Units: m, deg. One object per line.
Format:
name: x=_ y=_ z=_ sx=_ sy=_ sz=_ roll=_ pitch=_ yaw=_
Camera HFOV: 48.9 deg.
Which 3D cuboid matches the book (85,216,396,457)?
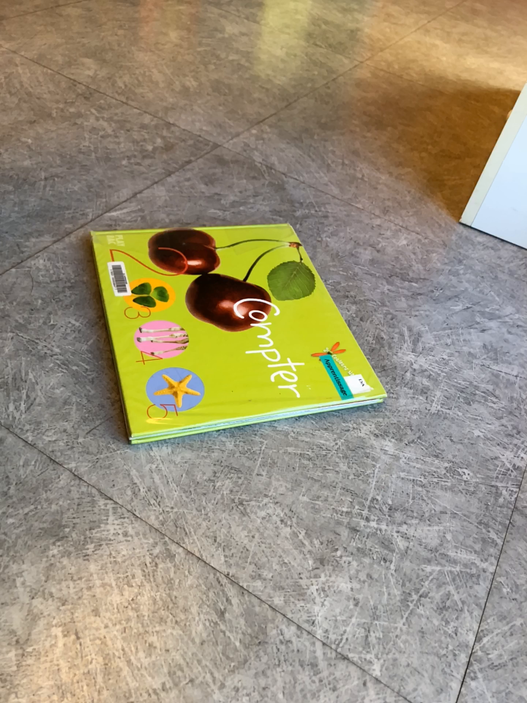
book: x=-0.035 y=-0.036 z=0.534 sx=0.222 sy=0.021 sz=0.256 roll=-8 pitch=49 yaw=-18
